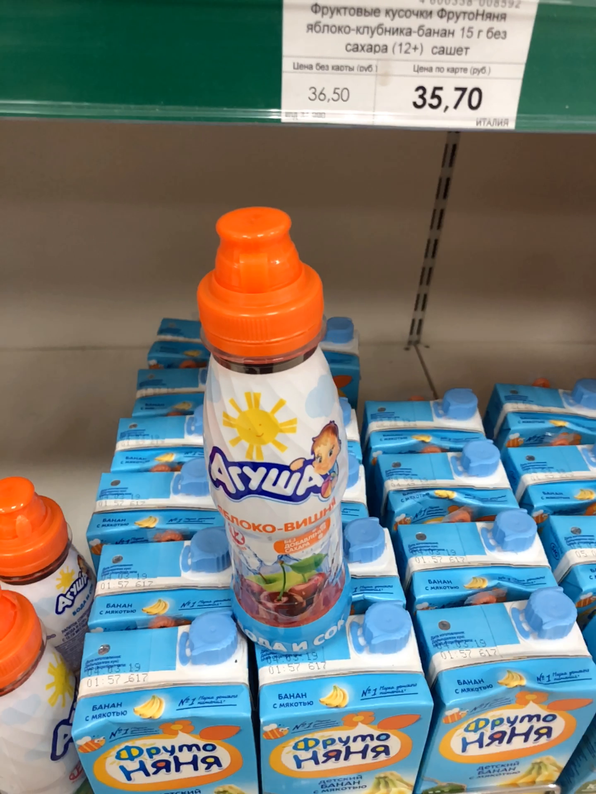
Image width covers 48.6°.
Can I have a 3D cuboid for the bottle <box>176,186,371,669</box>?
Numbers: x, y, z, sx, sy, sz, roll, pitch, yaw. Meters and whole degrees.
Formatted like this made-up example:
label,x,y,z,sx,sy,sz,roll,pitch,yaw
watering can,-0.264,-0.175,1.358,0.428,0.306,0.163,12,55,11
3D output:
label,x,y,z,sx,sy,sz,roll,pitch,yaw
bottle,-0.007,0.023,0.260,0.054,0.190,0.056,-2,35,1
